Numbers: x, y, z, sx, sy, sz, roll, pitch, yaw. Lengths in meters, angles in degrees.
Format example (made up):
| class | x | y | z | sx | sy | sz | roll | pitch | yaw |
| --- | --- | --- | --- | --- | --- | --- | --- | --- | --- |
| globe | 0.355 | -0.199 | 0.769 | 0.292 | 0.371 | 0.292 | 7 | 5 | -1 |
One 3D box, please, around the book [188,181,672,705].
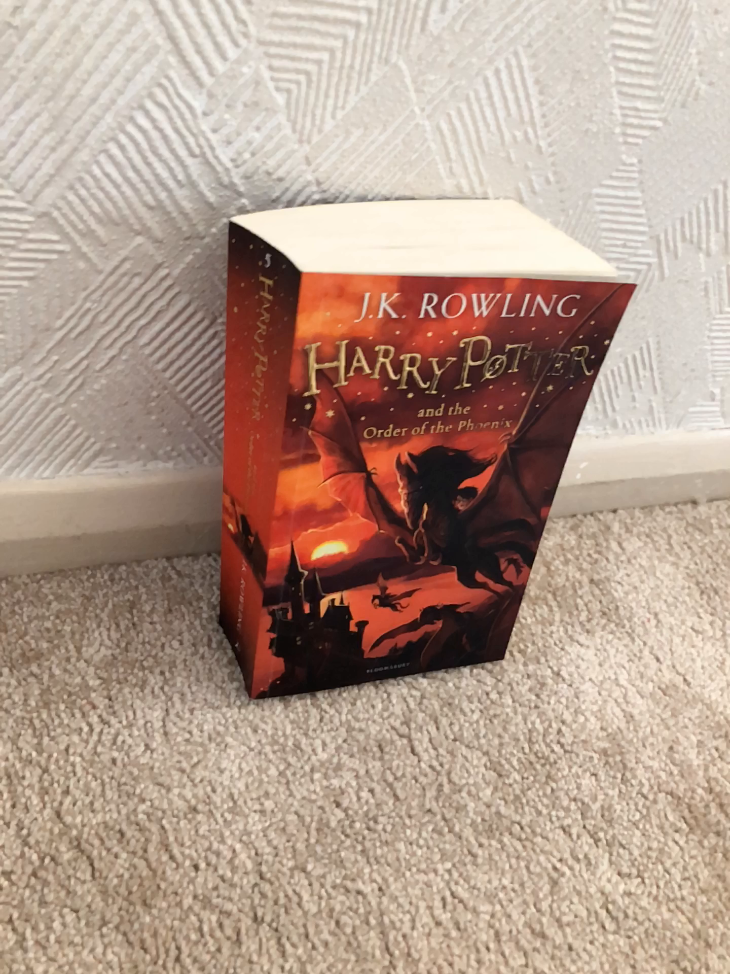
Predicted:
| class | x | y | z | sx | sy | sz | roll | pitch | yaw |
| --- | --- | --- | --- | --- | --- | --- | --- | --- | --- |
| book | 0.010 | -0.015 | 0.350 | 0.147 | 0.189 | 0.092 | -4 | 38 | -21 |
